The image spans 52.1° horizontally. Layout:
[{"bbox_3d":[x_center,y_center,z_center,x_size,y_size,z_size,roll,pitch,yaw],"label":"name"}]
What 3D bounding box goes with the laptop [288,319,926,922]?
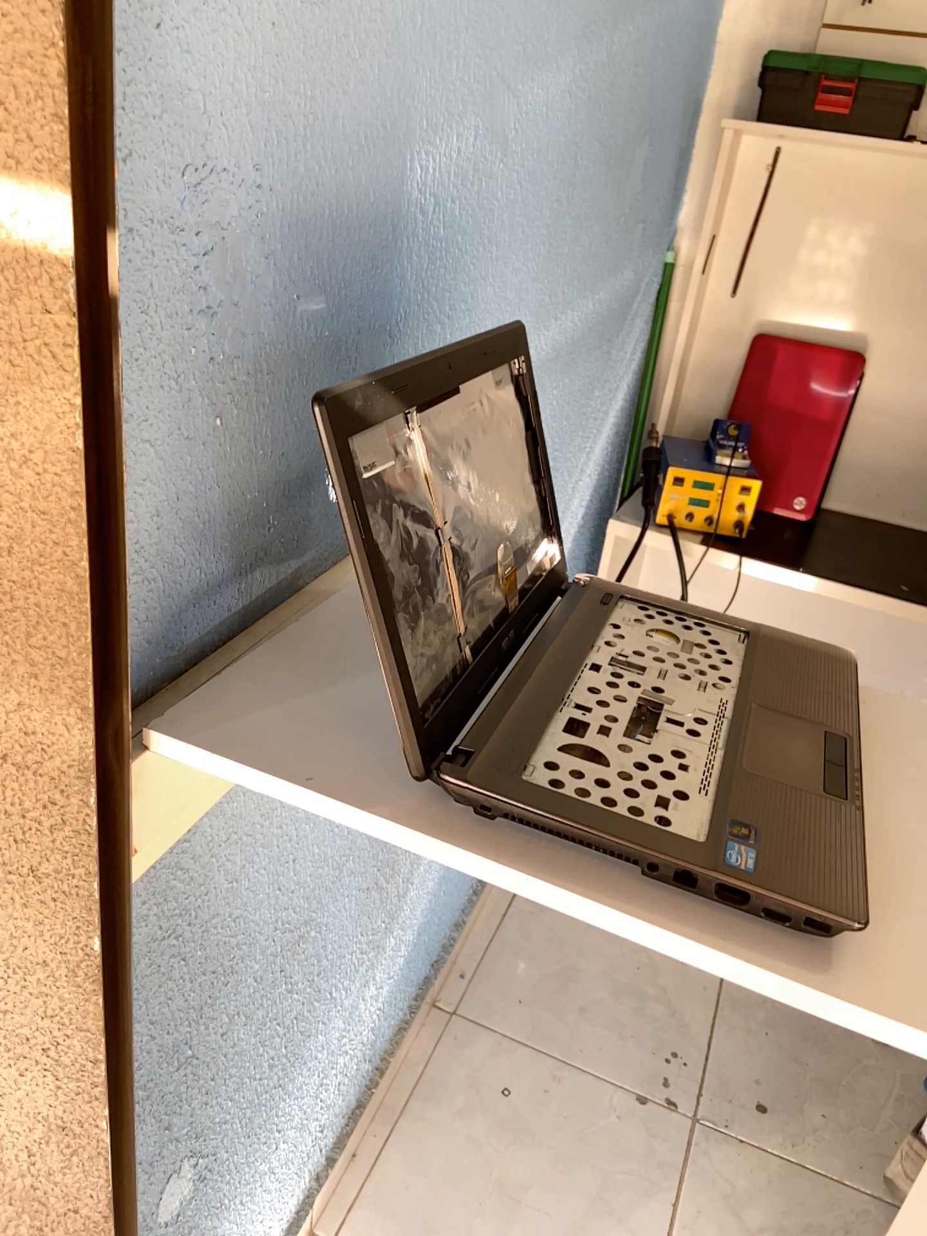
[{"bbox_3d":[0.121,-0.044,0.623,0.327,0.202,0.338,16,27,15],"label":"laptop"}]
